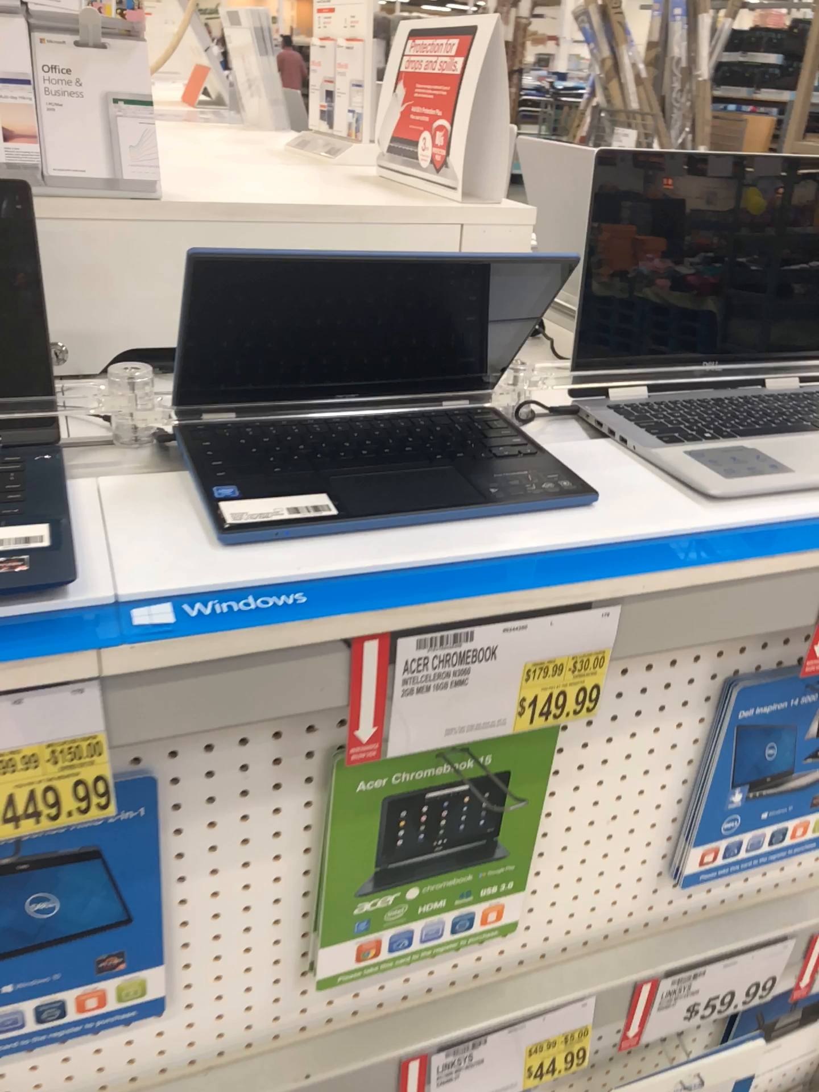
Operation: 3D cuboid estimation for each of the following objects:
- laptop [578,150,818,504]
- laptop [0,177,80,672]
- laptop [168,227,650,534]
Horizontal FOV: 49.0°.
[{"bbox_3d":[0.370,-0.220,0.815,0.341,0.218,0.256,-8,31,-18],"label":"laptop"},{"bbox_3d":[-0.389,-0.118,0.568,0.305,0.169,0.369,-7,29,-21],"label":"laptop"},{"bbox_3d":[-0.014,-0.138,0.682,0.293,0.159,0.195,-6,29,-20],"label":"laptop"}]
